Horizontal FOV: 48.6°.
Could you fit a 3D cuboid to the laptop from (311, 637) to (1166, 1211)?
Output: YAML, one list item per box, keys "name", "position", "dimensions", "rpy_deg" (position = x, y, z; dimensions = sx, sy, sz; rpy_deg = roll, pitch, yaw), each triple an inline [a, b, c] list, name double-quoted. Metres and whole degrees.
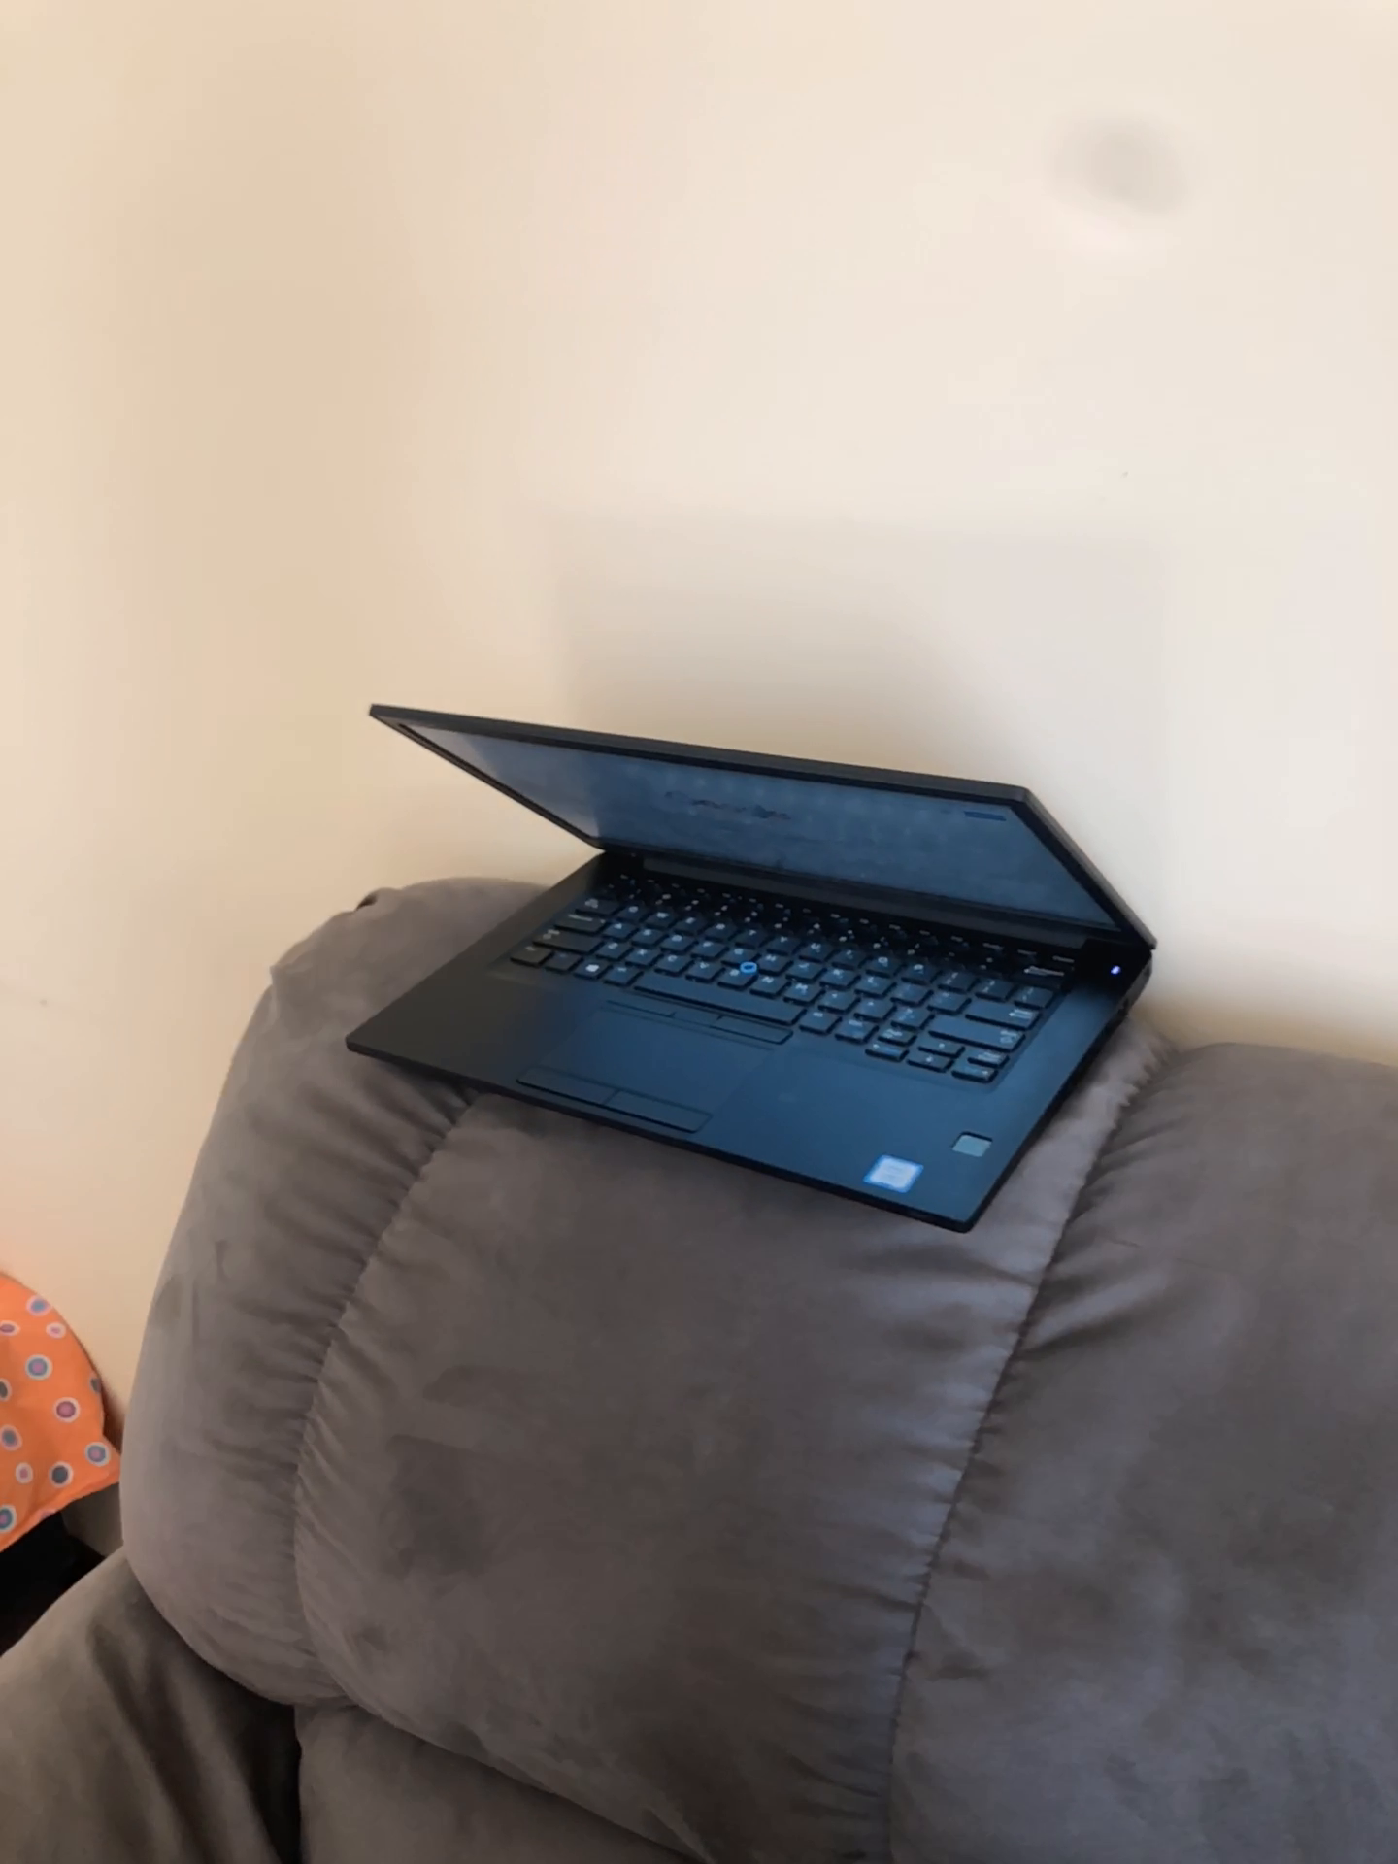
- name: "laptop"
  position: [0.018, -0.029, 0.720]
  dimensions: [0.321, 0.128, 0.213]
  rpy_deg: [12, 32, 32]
